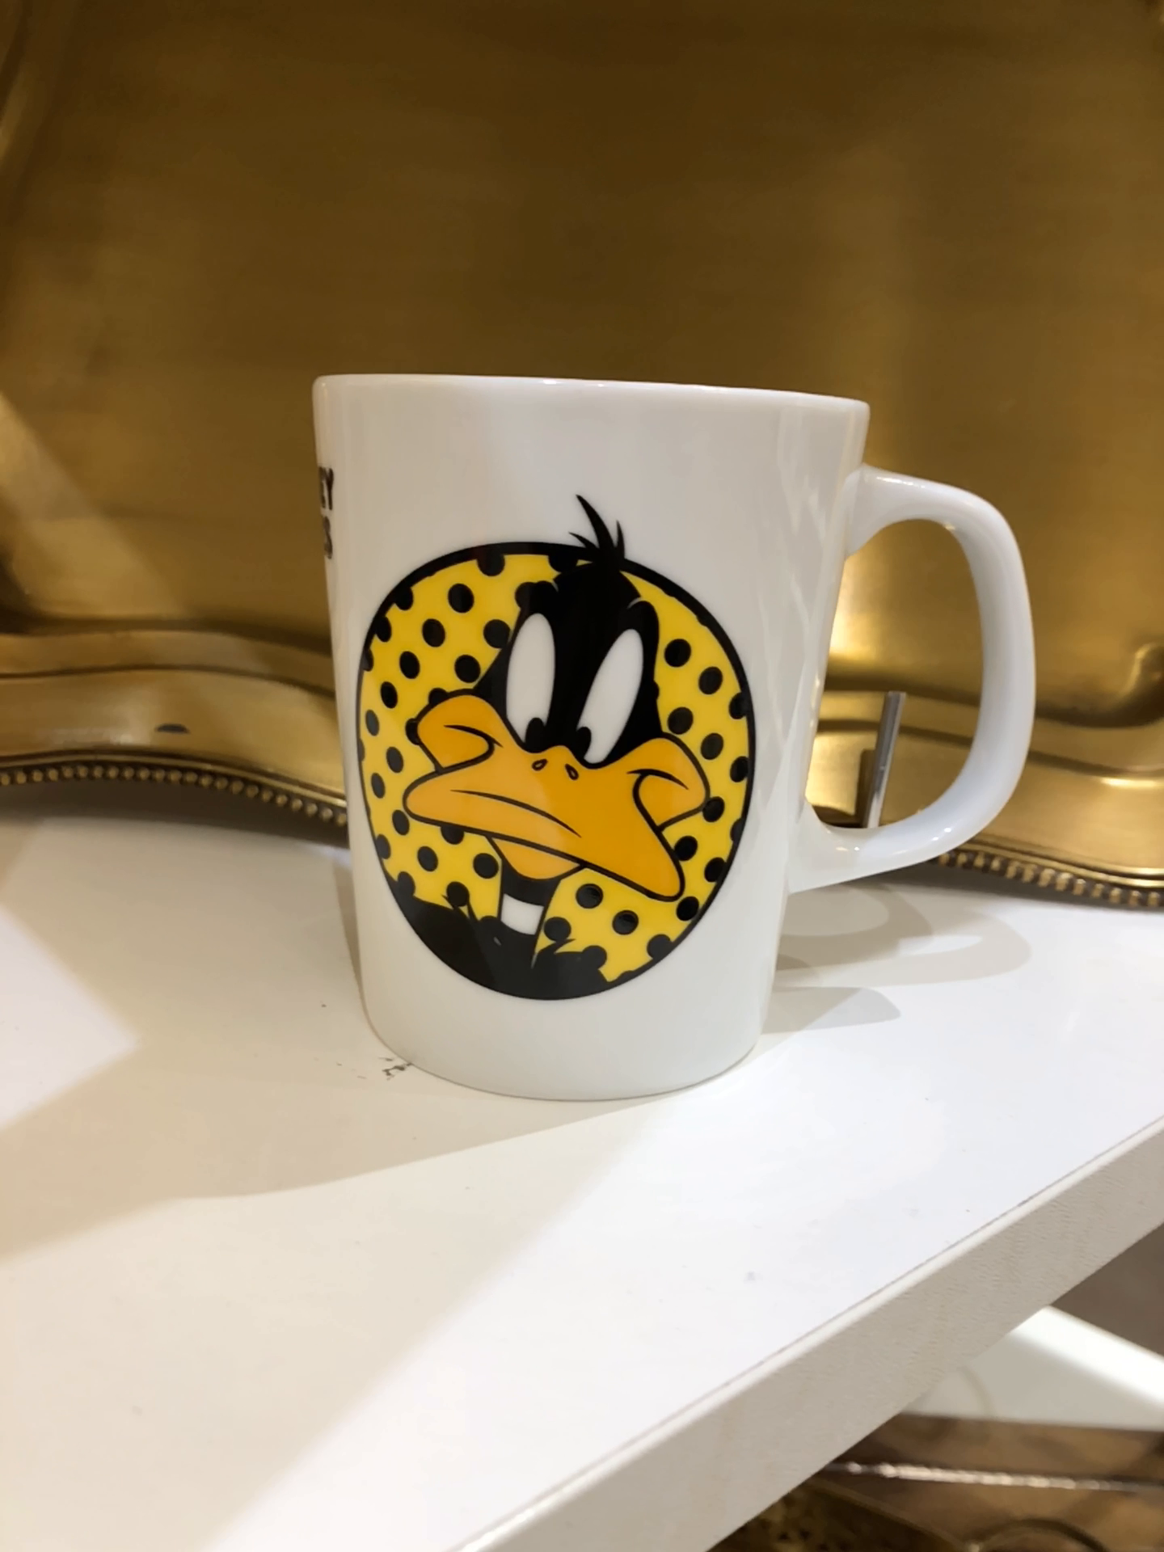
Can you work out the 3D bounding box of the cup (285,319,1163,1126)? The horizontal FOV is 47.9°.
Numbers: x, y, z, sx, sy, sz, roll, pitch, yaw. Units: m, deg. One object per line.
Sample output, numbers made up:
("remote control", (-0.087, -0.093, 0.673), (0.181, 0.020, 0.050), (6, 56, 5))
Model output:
("cup", (0.017, -0.015, 0.198), (0.120, 0.090, 0.090), (0, 15, -13))
